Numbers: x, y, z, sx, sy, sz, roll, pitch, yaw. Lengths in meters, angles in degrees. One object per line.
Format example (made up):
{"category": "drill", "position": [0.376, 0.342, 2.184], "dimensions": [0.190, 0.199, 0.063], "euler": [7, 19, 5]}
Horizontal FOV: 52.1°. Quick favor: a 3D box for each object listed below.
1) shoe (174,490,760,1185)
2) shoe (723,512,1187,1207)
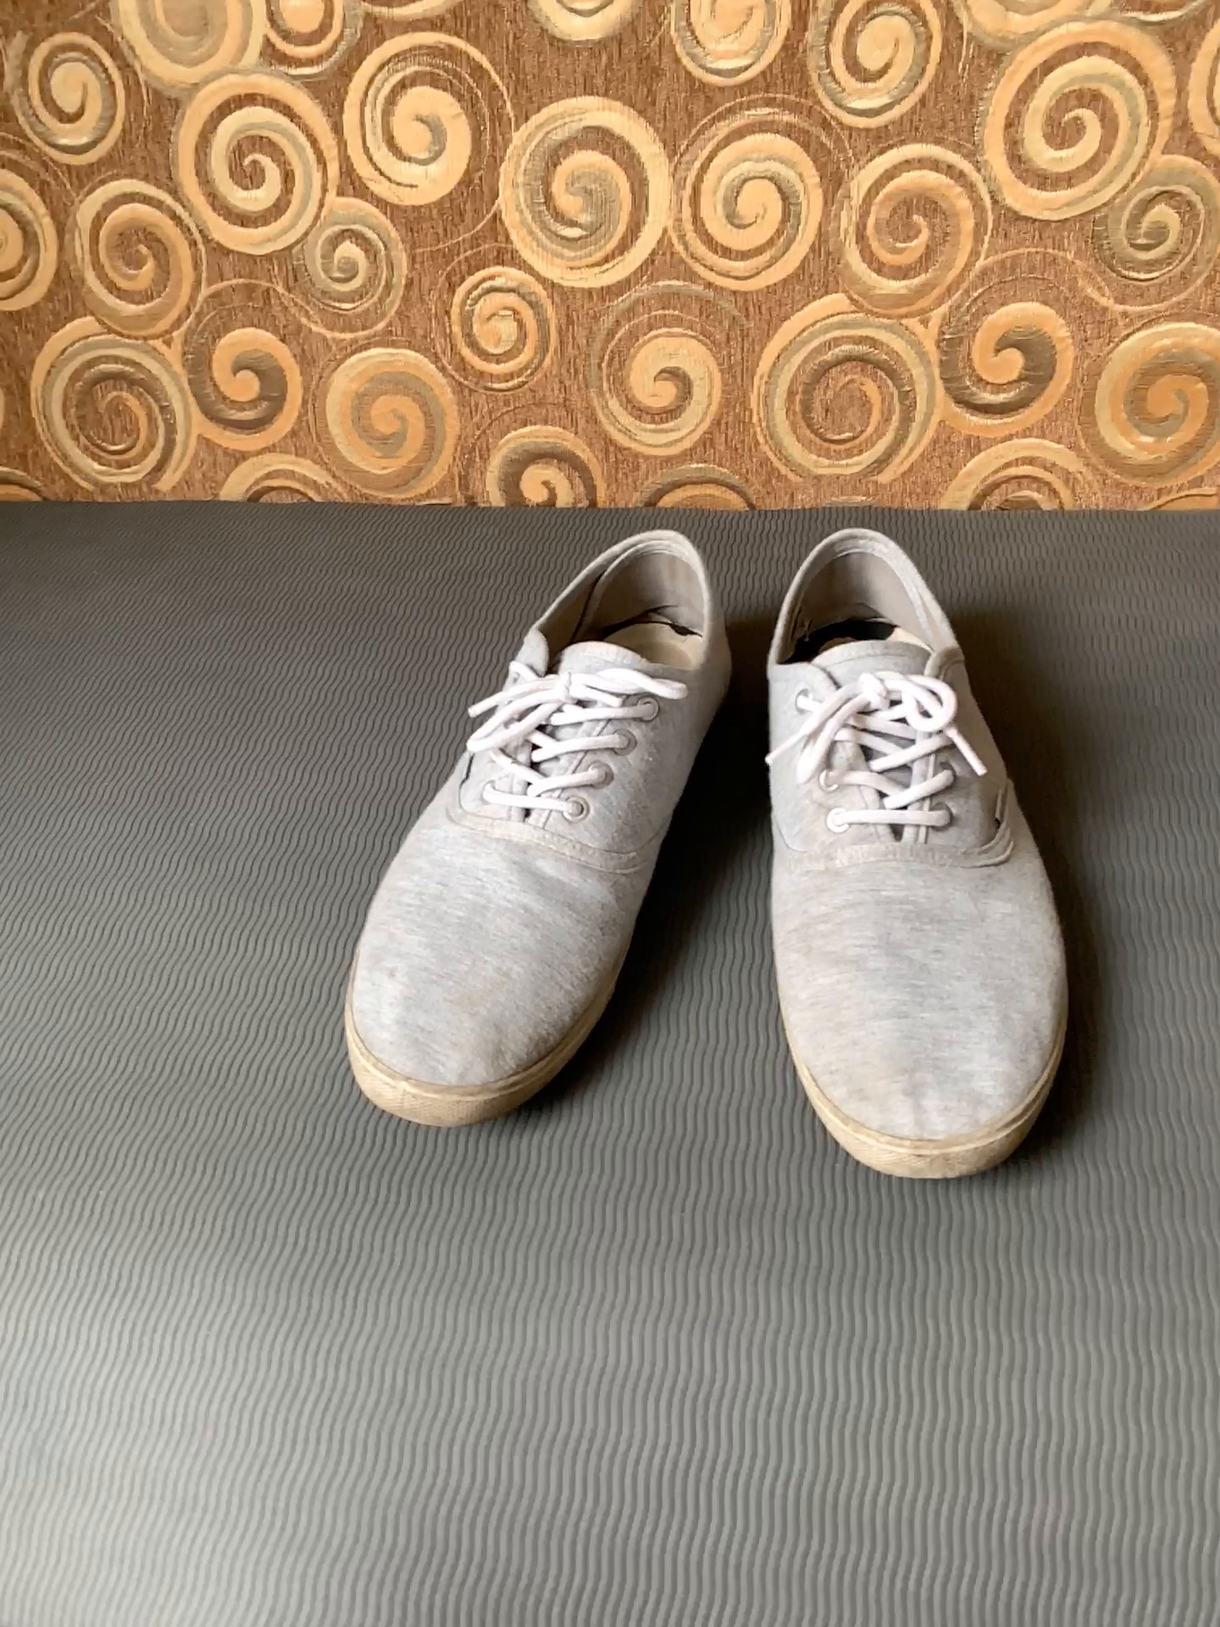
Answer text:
{"category": "shoe", "position": [-0.033, -0.010, 0.473], "dimensions": [0.110, 0.080, 0.261], "euler": [13, 50, 17]}
{"category": "shoe", "position": [0.103, 0.001, 0.455], "dimensions": [0.110, 0.080, 0.261], "euler": [-2, 47, 3]}
